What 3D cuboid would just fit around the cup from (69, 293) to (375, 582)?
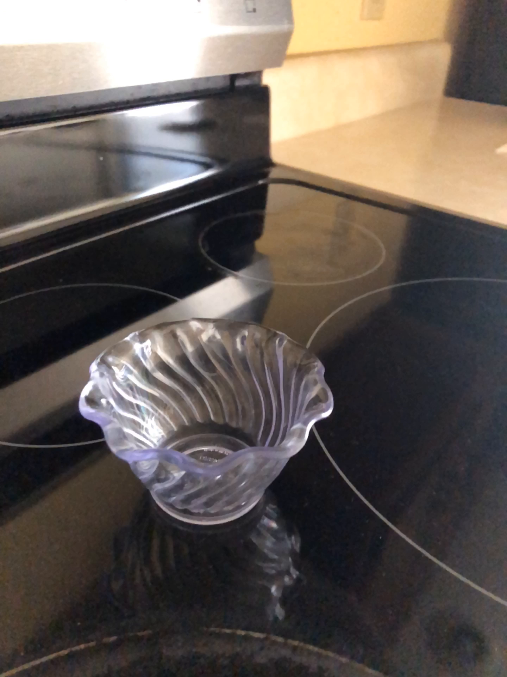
[{"bbox_3d":[-0.018,0.030,0.227,0.091,0.049,0.091,2,32,-1],"label":"cup"}]
